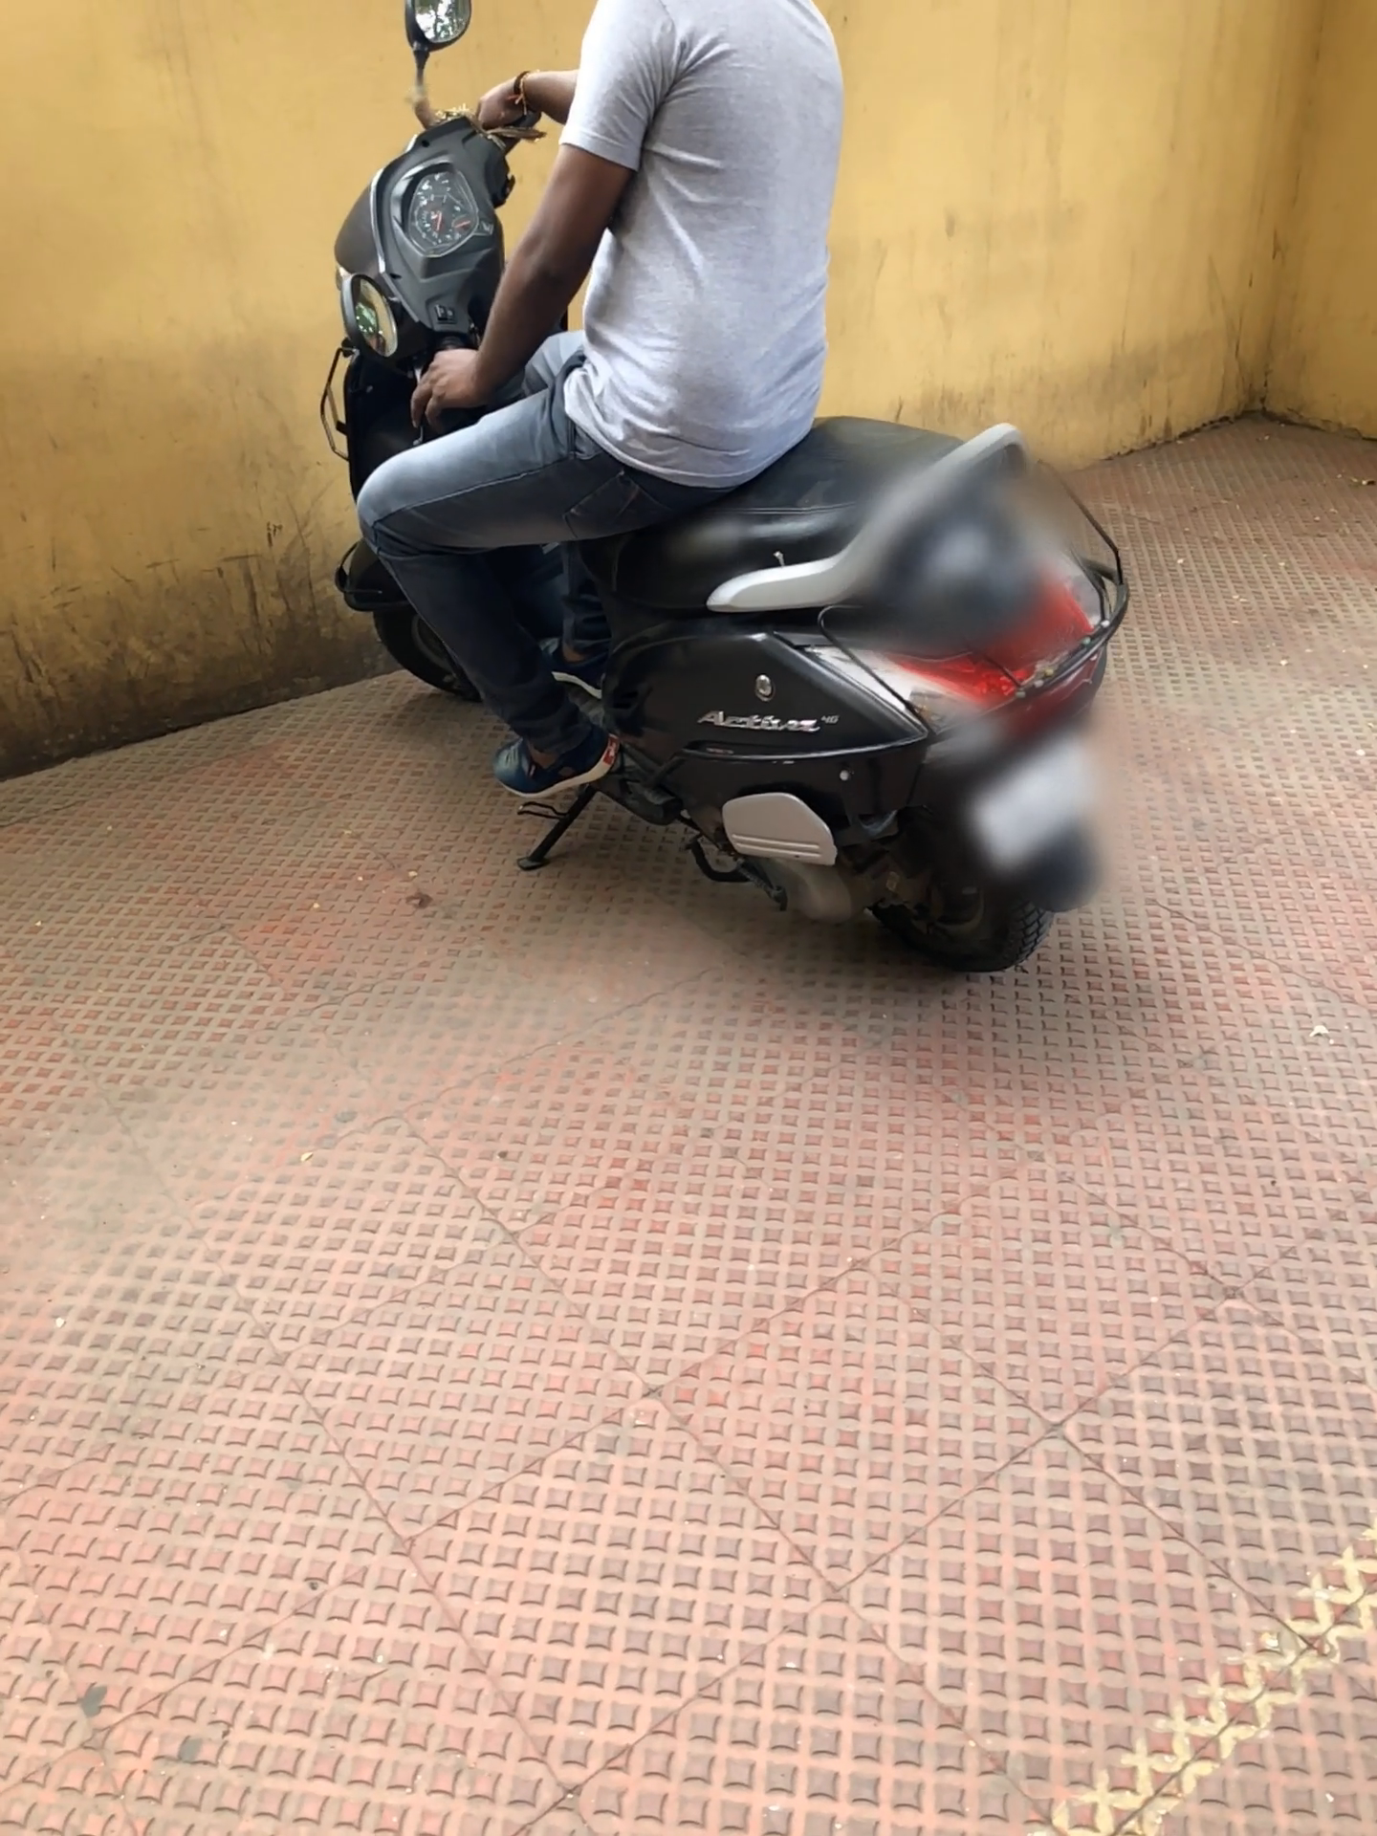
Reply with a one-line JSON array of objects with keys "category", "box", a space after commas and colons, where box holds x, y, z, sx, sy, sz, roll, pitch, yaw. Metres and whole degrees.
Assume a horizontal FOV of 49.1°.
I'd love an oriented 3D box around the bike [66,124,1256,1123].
[{"category": "bike", "box": [-0.144, -0.574, 2.246, 0.696, 1.016, 1.548, -27, 38, -34]}]
